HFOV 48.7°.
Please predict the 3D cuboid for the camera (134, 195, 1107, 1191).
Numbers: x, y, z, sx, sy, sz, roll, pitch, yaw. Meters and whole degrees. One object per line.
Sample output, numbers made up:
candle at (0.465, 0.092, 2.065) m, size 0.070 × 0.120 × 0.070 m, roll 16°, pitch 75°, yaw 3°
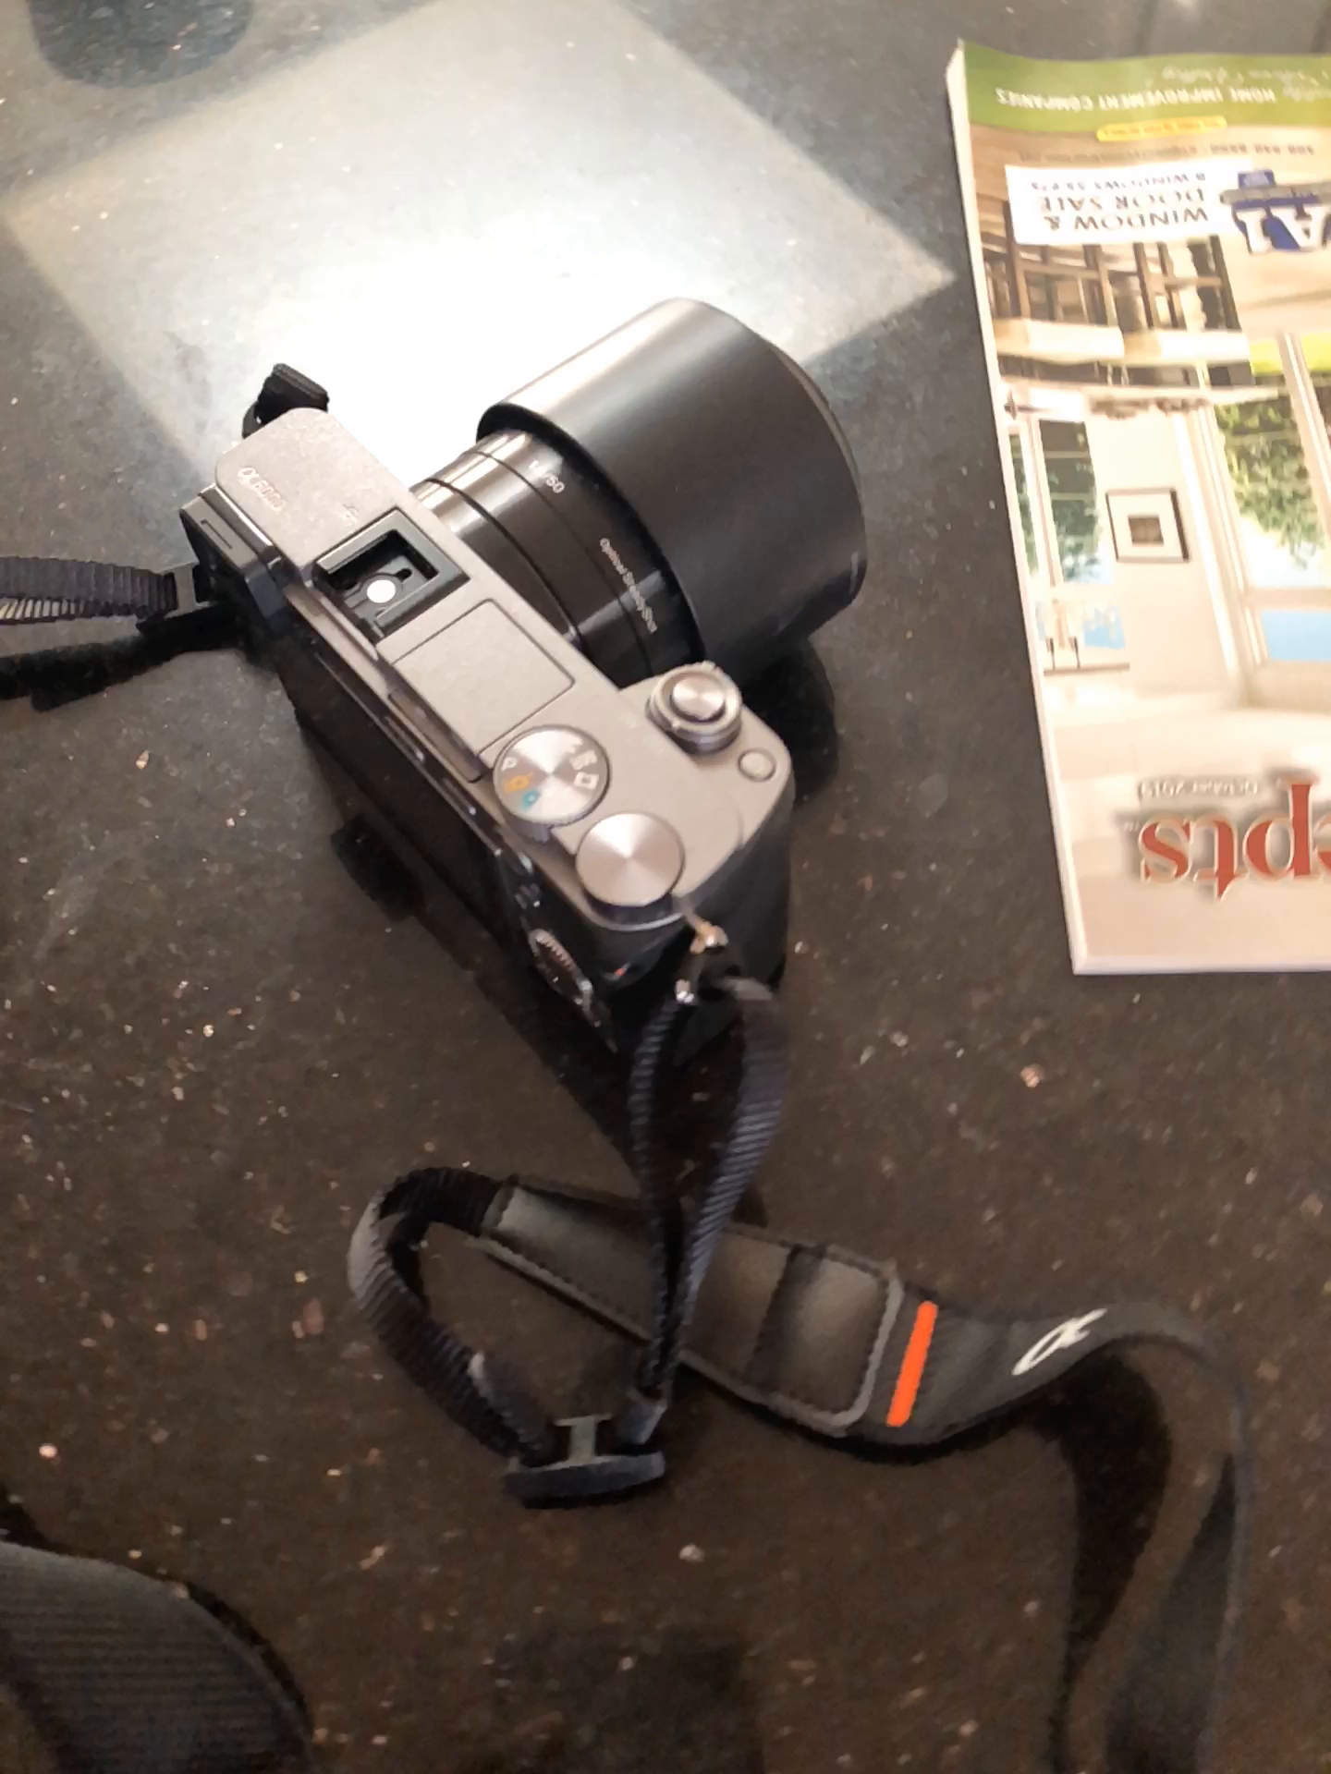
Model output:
camera at (-0.009, -0.035, 0.281) m, size 0.099 × 0.100 × 0.127 m, roll -37°, pitch 67°, yaw -16°
